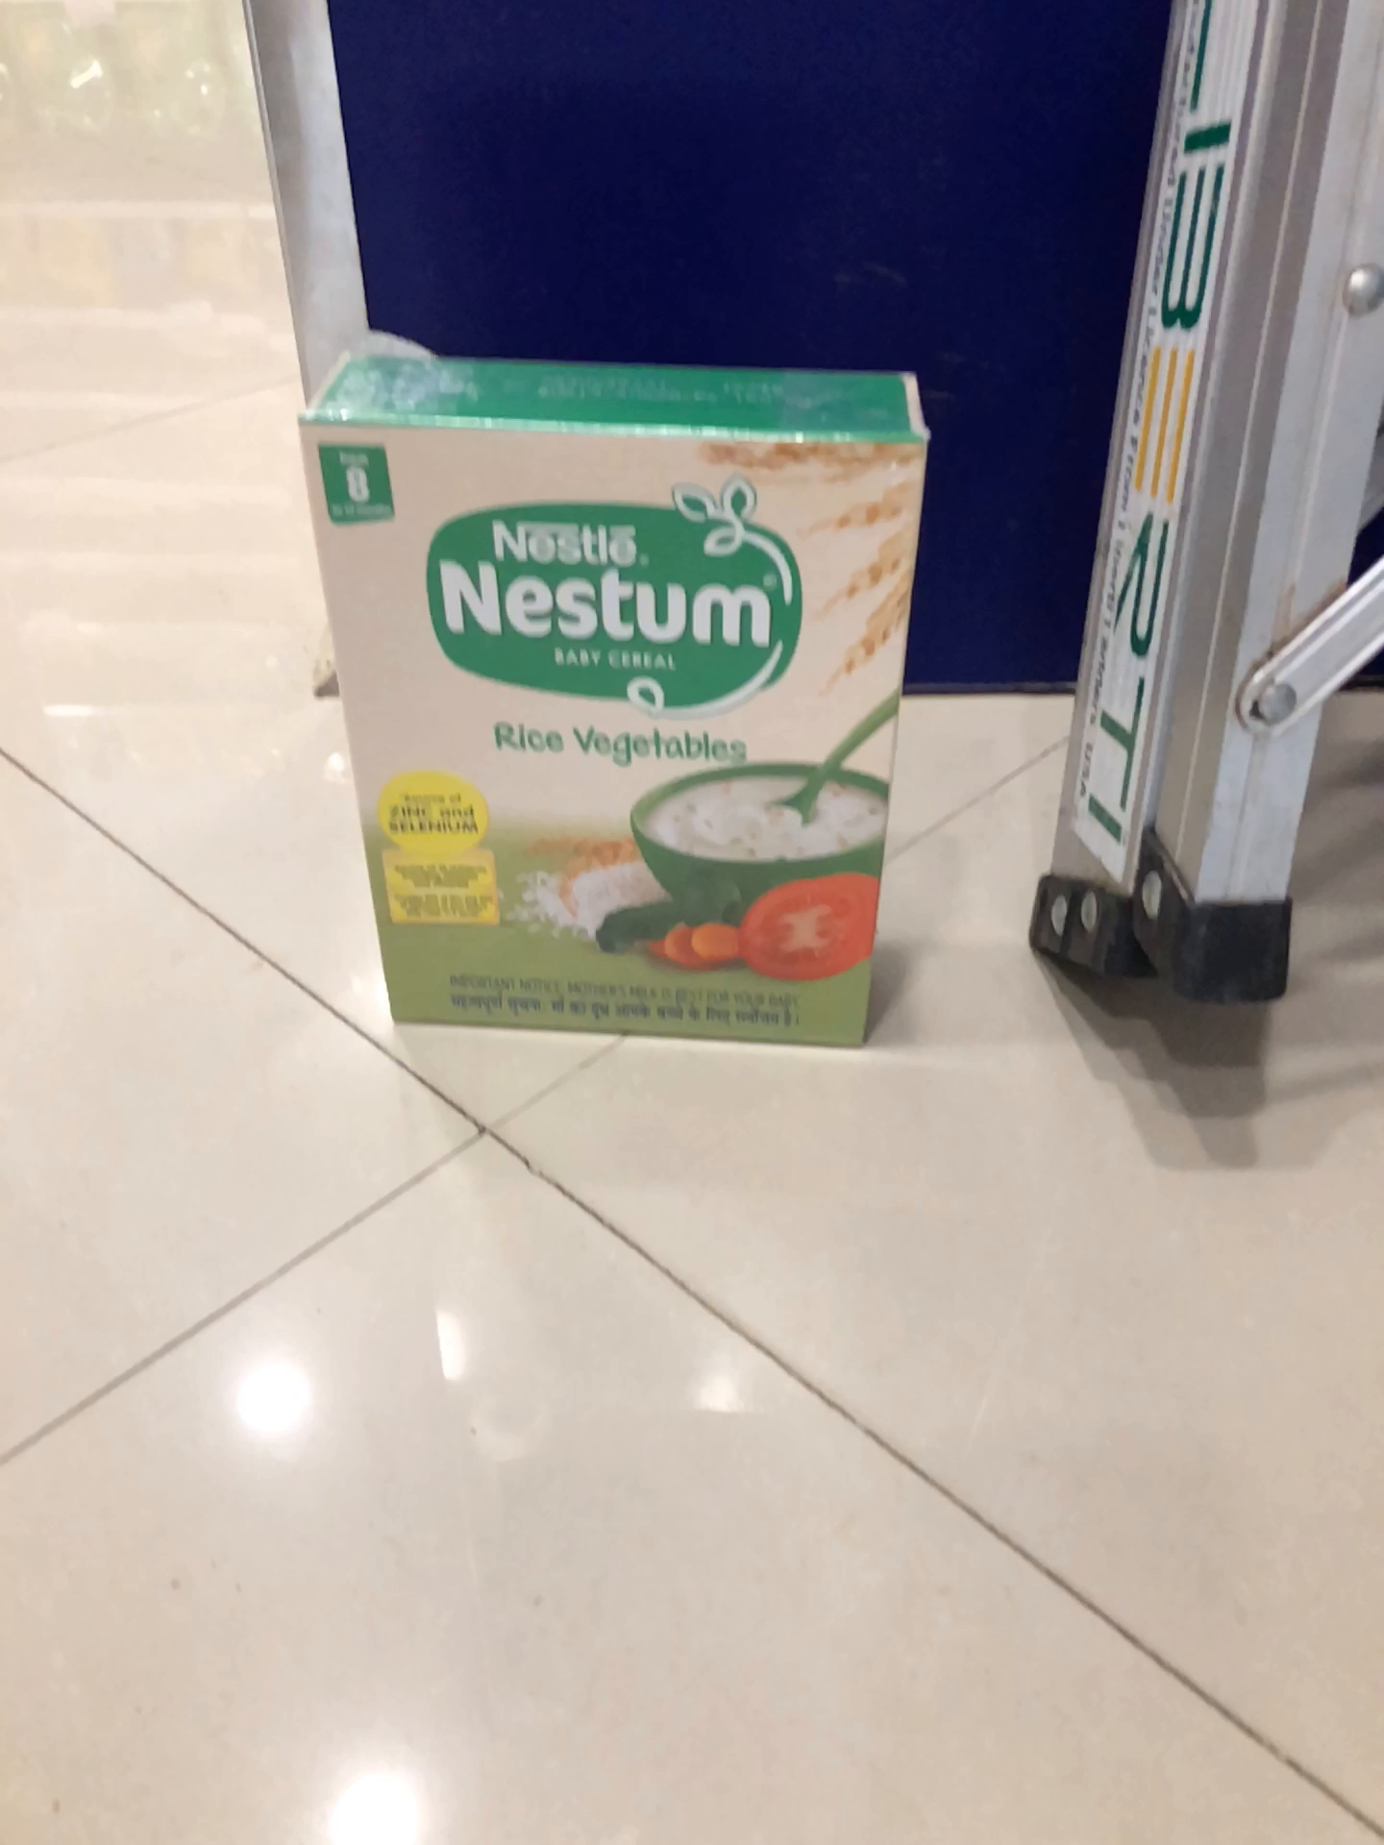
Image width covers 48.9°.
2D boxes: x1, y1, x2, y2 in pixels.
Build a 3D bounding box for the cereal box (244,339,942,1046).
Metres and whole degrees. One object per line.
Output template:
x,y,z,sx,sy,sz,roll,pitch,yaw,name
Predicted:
-0.022,-0.056,0.425,0.160,0.189,0.050,3,38,2,cereal box
